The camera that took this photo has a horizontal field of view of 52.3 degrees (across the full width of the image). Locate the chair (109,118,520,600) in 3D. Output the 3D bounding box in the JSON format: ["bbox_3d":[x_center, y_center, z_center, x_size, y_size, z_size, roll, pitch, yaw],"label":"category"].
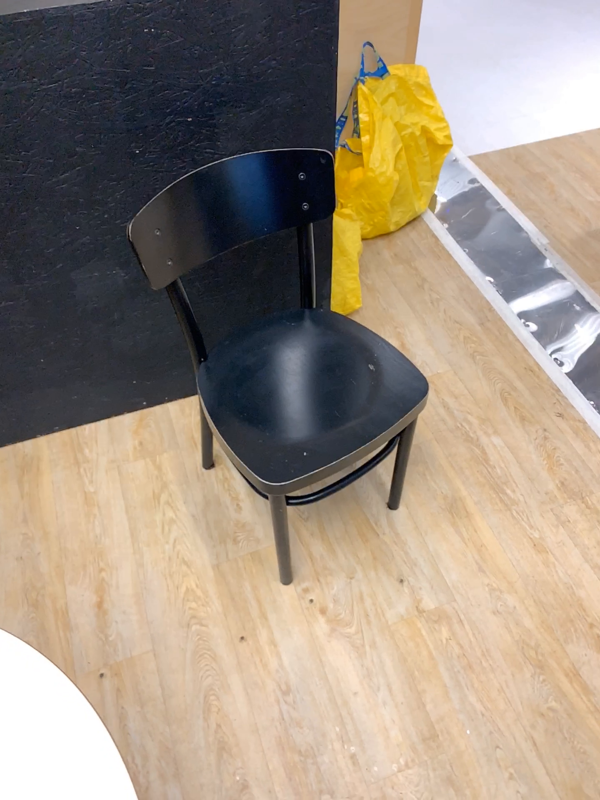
[{"bbox_3d":[0.010,-0.056,1.181,0.440,0.698,0.441,-29,55,-24],"label":"chair"}]
